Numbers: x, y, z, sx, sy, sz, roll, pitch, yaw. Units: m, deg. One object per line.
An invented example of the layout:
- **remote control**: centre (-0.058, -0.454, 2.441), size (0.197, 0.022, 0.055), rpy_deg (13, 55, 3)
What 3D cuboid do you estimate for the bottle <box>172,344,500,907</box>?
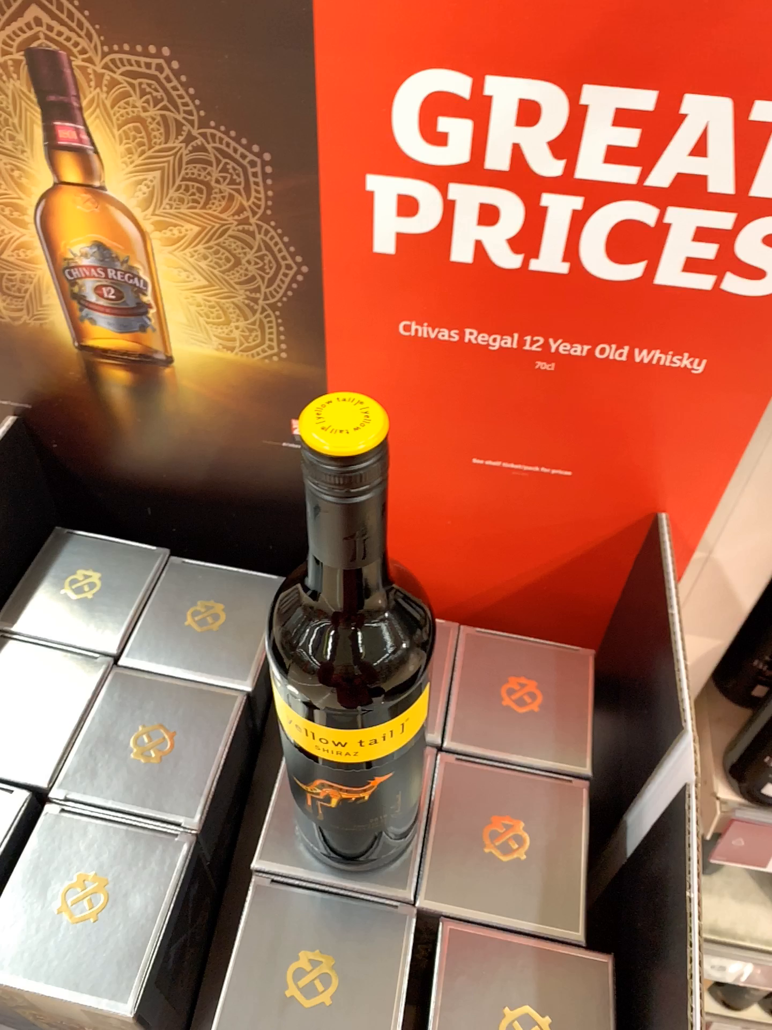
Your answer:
- **bottle**: centre (-0.015, 0.079, 0.354), size (0.086, 0.307, 0.082), rpy_deg (1, 48, -1)
